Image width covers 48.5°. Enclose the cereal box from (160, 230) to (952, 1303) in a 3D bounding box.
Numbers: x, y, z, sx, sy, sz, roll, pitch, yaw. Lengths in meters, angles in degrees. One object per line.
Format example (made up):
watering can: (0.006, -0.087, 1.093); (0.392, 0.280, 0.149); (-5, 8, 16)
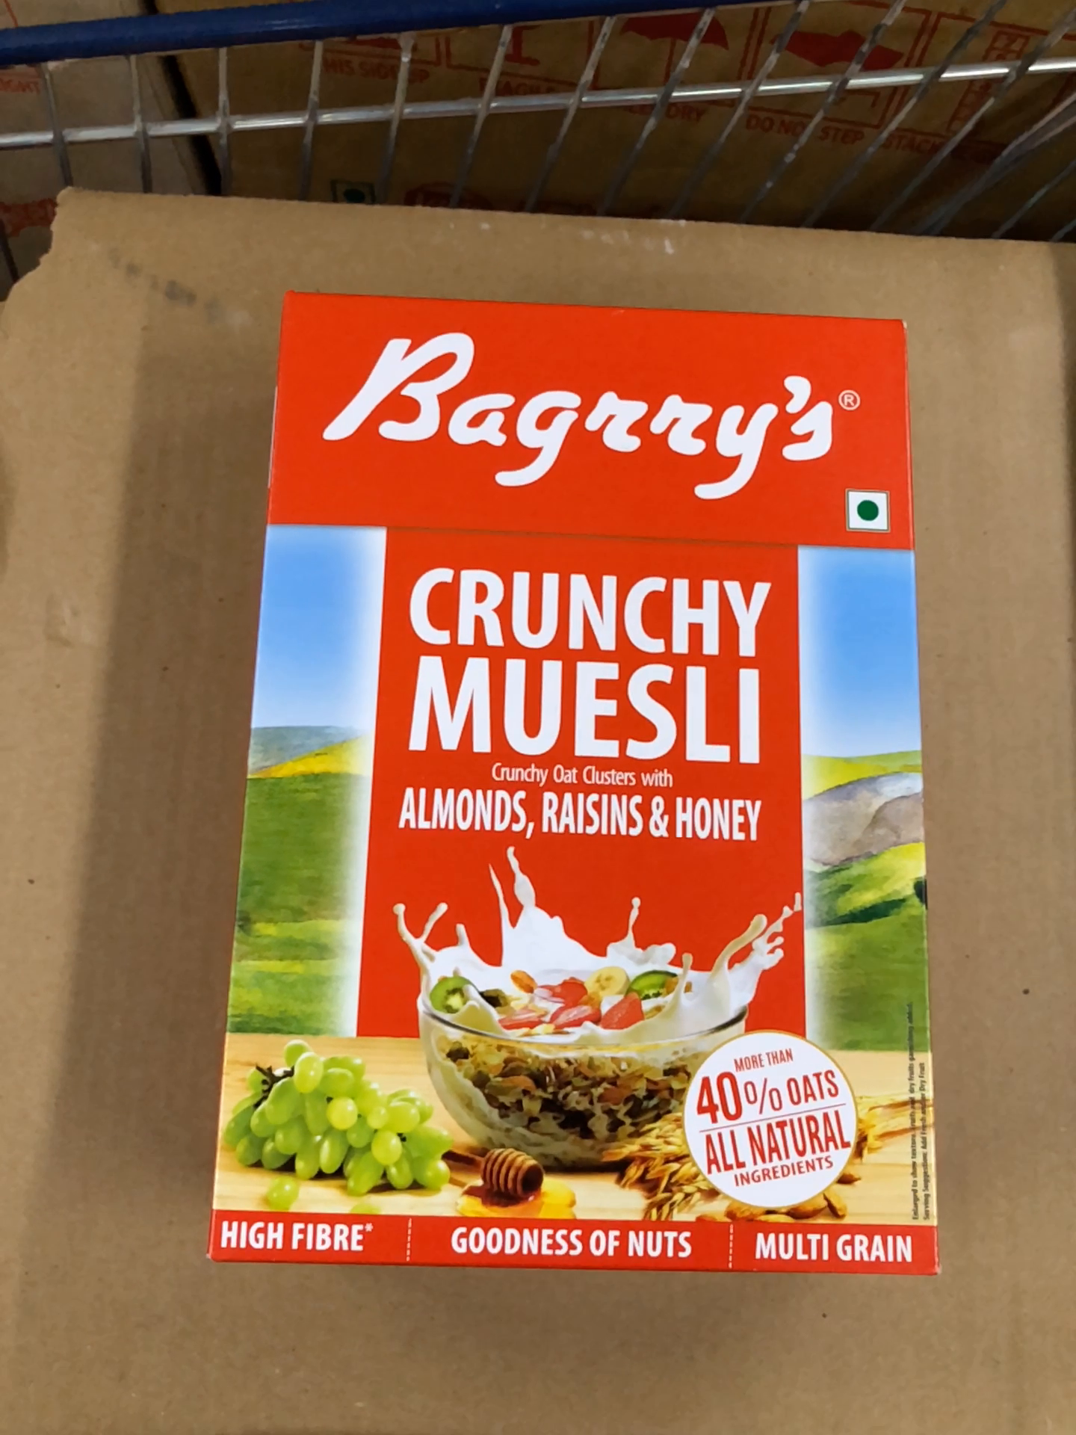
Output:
cereal box: (0.008, 0.008, 0.328); (0.180, 0.070, 0.260); (2, 80, -1)
